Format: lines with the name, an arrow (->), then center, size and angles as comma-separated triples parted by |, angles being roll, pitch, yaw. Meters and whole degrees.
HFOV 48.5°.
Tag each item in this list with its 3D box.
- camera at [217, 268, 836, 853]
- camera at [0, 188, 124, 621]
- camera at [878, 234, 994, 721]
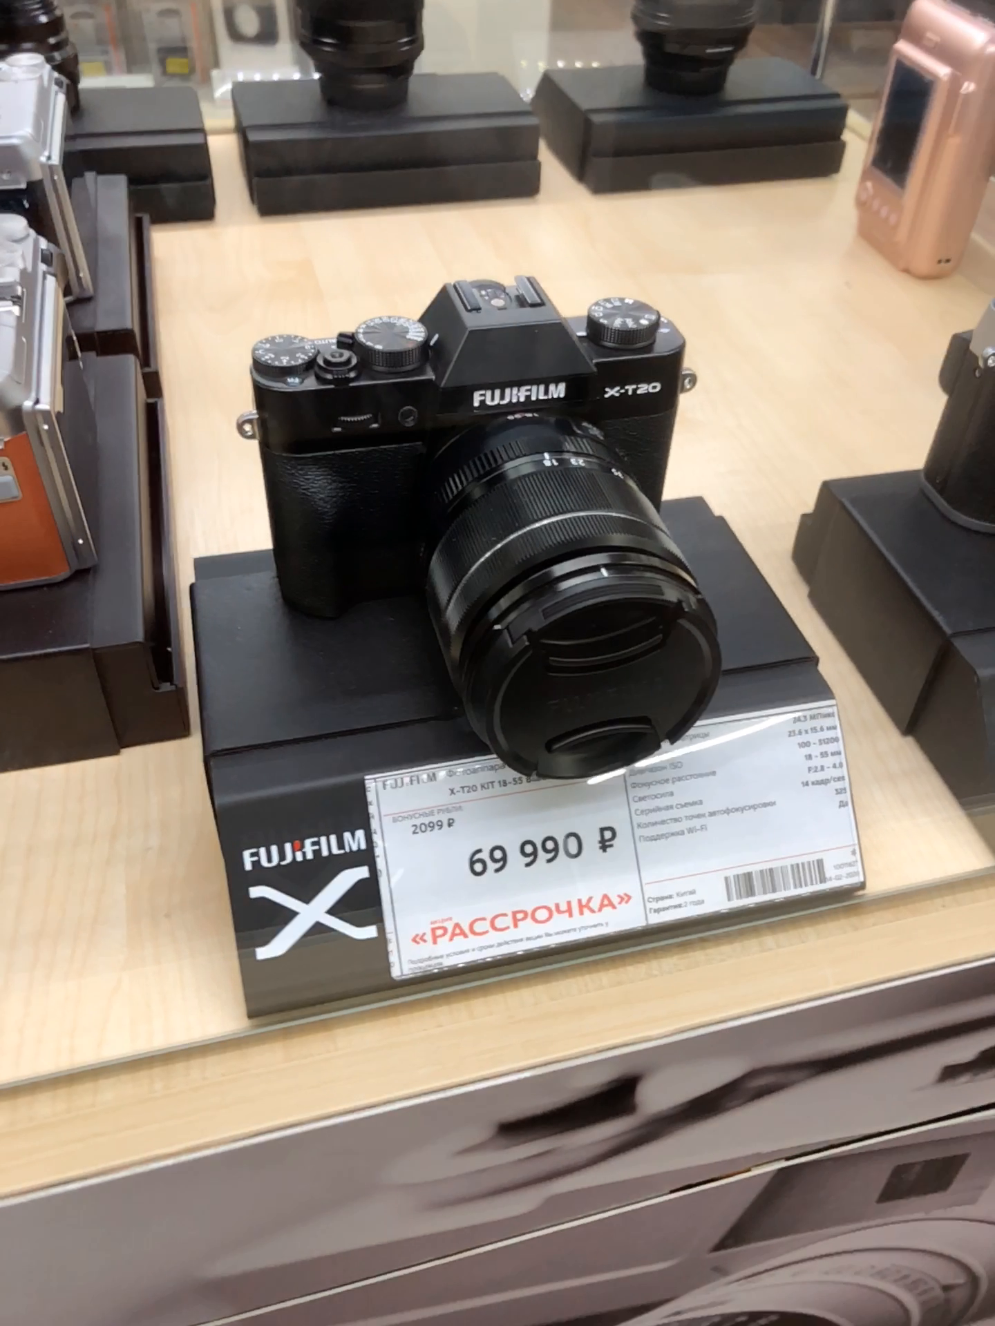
camera -> -0.004, -0.035, 0.293 | 0.121, 0.080, 0.131 | -7, 44, -11
camera -> -0.154, -0.080, 0.318 | 0.074, 0.063, 0.122 | -9, 44, -13
camera -> 0.210, -0.062, 0.325 | 0.130, 0.072, 0.124 | -9, 44, -13
